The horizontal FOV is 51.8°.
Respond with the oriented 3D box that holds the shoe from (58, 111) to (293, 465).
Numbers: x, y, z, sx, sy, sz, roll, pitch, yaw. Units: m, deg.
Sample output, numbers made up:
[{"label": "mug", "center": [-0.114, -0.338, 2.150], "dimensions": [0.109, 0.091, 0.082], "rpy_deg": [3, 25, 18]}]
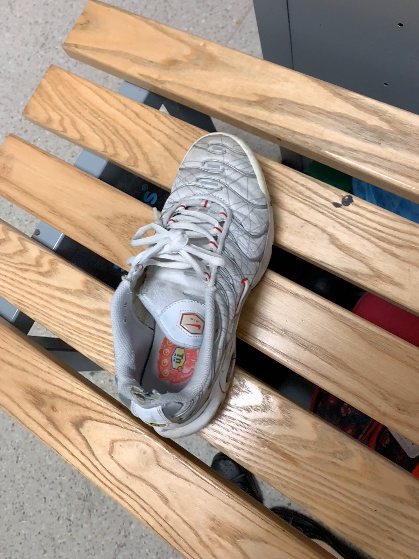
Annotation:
[{"label": "shoe", "center": [-0.013, 0.004, 0.342], "dimensions": [0.101, 0.105, 0.226], "rpy_deg": [13, 82, 16]}]
